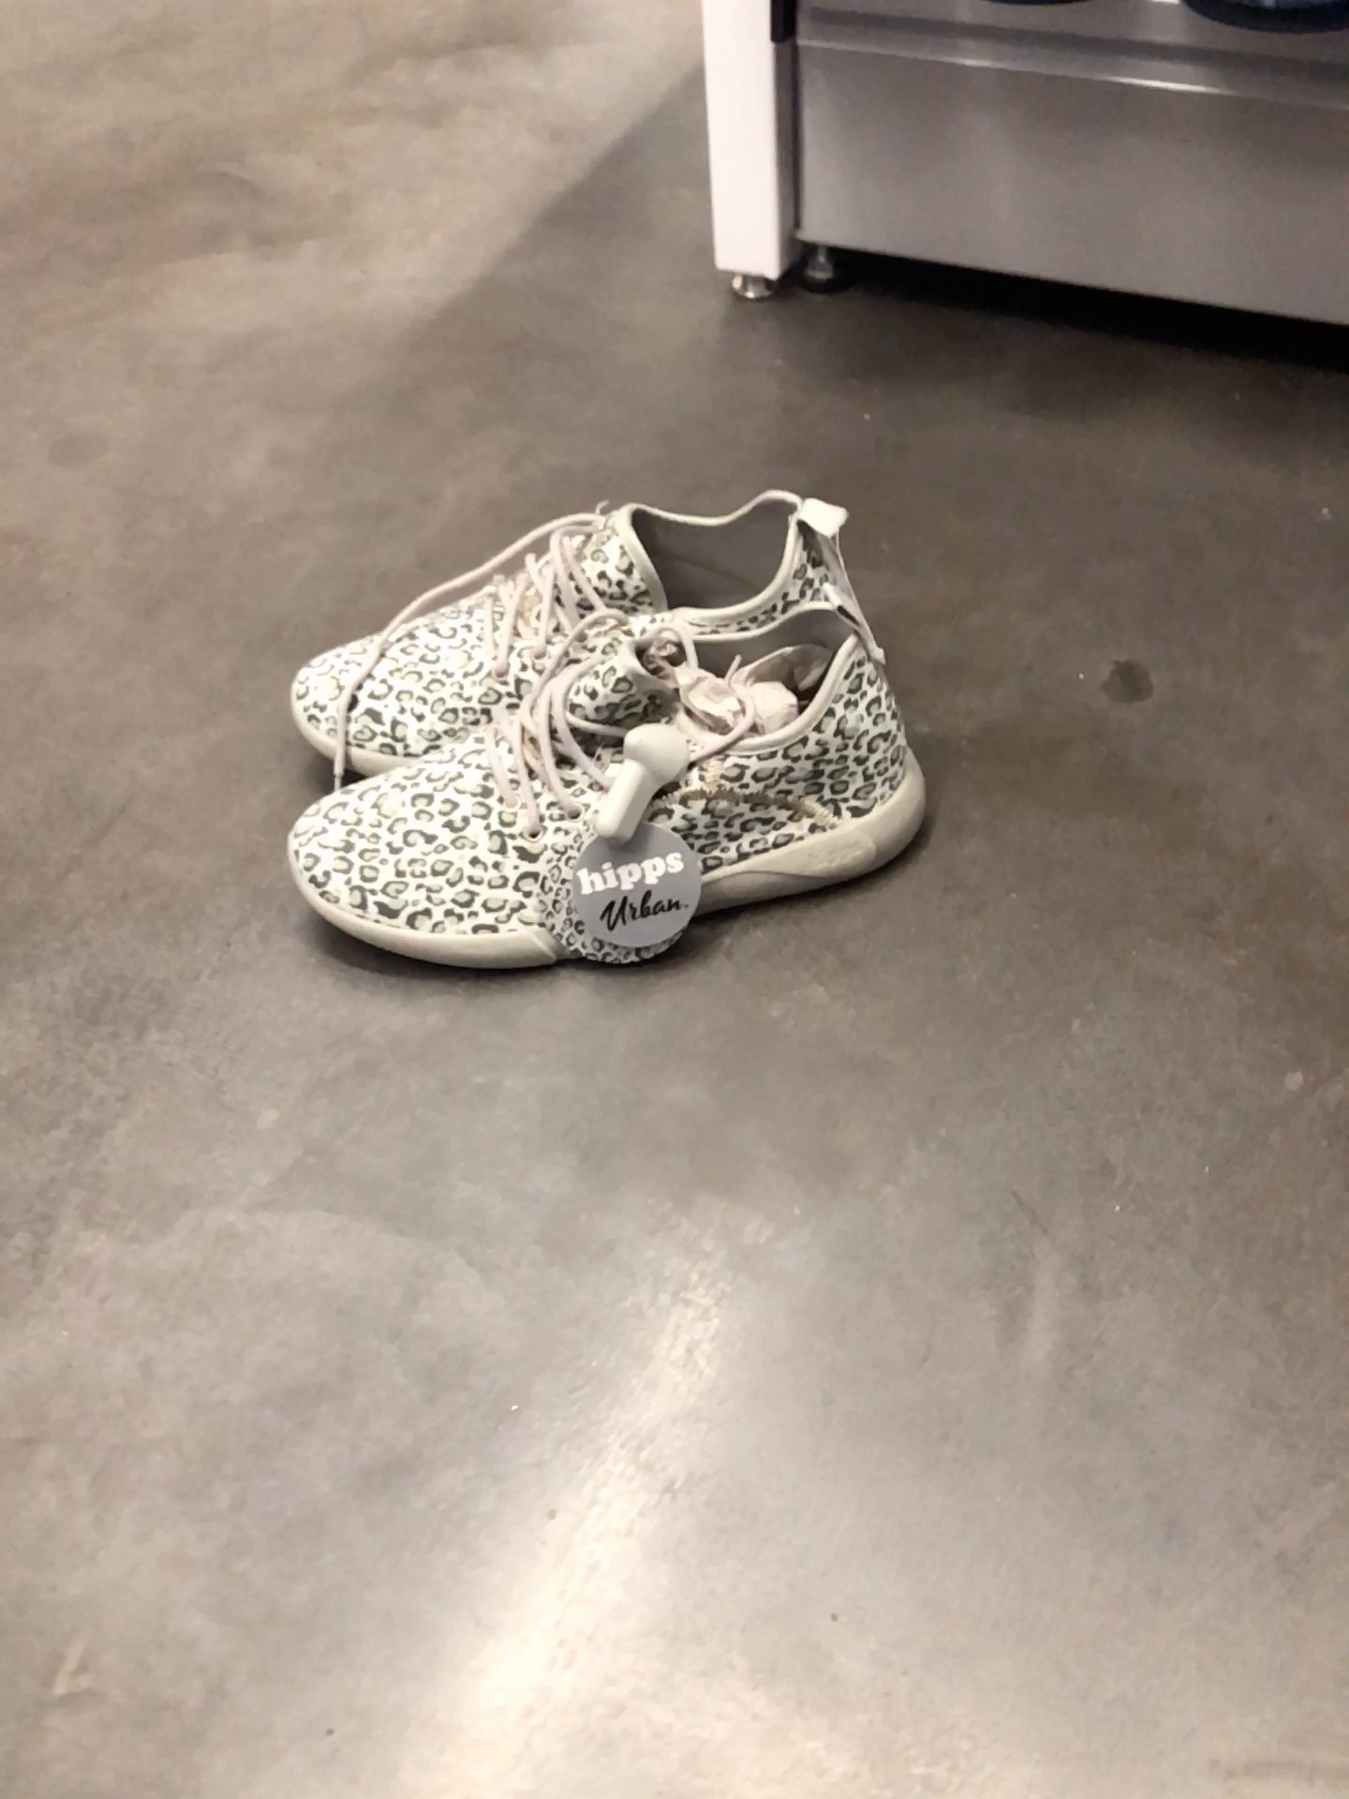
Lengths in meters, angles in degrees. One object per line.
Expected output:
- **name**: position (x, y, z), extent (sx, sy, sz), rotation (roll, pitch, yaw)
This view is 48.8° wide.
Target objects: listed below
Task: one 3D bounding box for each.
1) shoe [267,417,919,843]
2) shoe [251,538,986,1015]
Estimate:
- **shoe**: position (-0.034, -0.115, 0.633), extent (0.250, 0.100, 0.100), rotation (-10, 49, -4)
- **shoe**: position (-0.022, -0.047, 0.568), extent (0.250, 0.100, 0.100), rotation (-10, 49, -4)
